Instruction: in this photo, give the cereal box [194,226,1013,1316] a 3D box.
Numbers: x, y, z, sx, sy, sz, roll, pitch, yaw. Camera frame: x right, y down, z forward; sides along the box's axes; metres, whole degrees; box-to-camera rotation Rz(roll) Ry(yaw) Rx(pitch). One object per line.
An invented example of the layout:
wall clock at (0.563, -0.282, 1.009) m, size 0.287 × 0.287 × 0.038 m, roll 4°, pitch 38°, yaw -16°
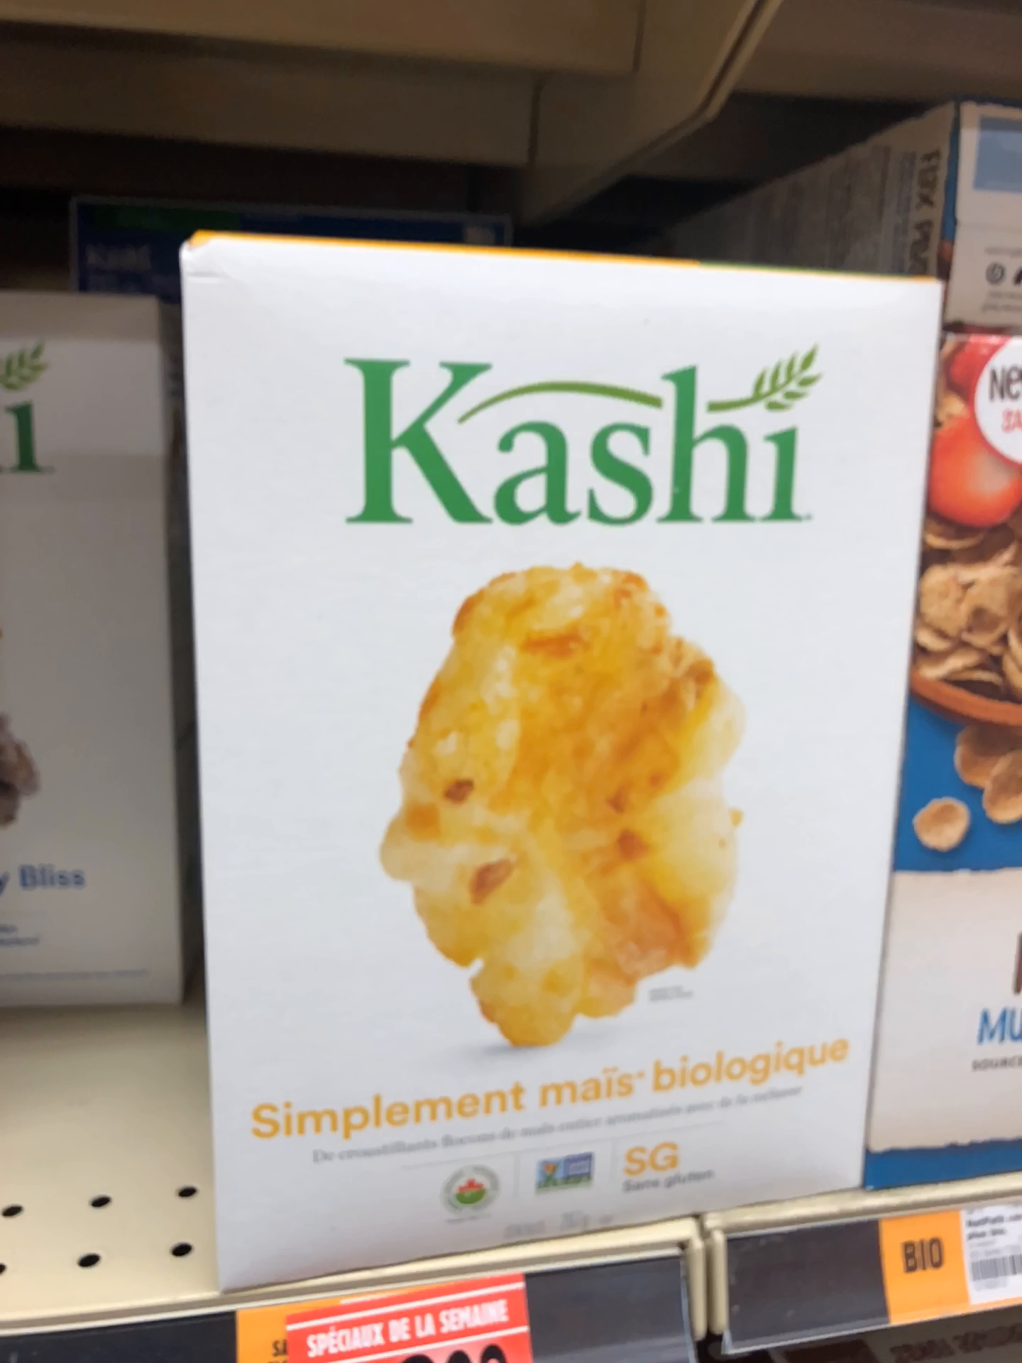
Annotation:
cereal box at (0.019, 0.025, 0.325) m, size 0.200 × 0.269 × 0.060 m, roll -2°, pitch 13°, yaw -14°
